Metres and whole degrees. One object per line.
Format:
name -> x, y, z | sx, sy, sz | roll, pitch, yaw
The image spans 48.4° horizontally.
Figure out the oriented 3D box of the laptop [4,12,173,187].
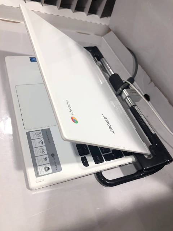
laptop -> -0.019, -0.056, 0.338 | 0.201, 0.091, 0.285 | -6, 52, -27
